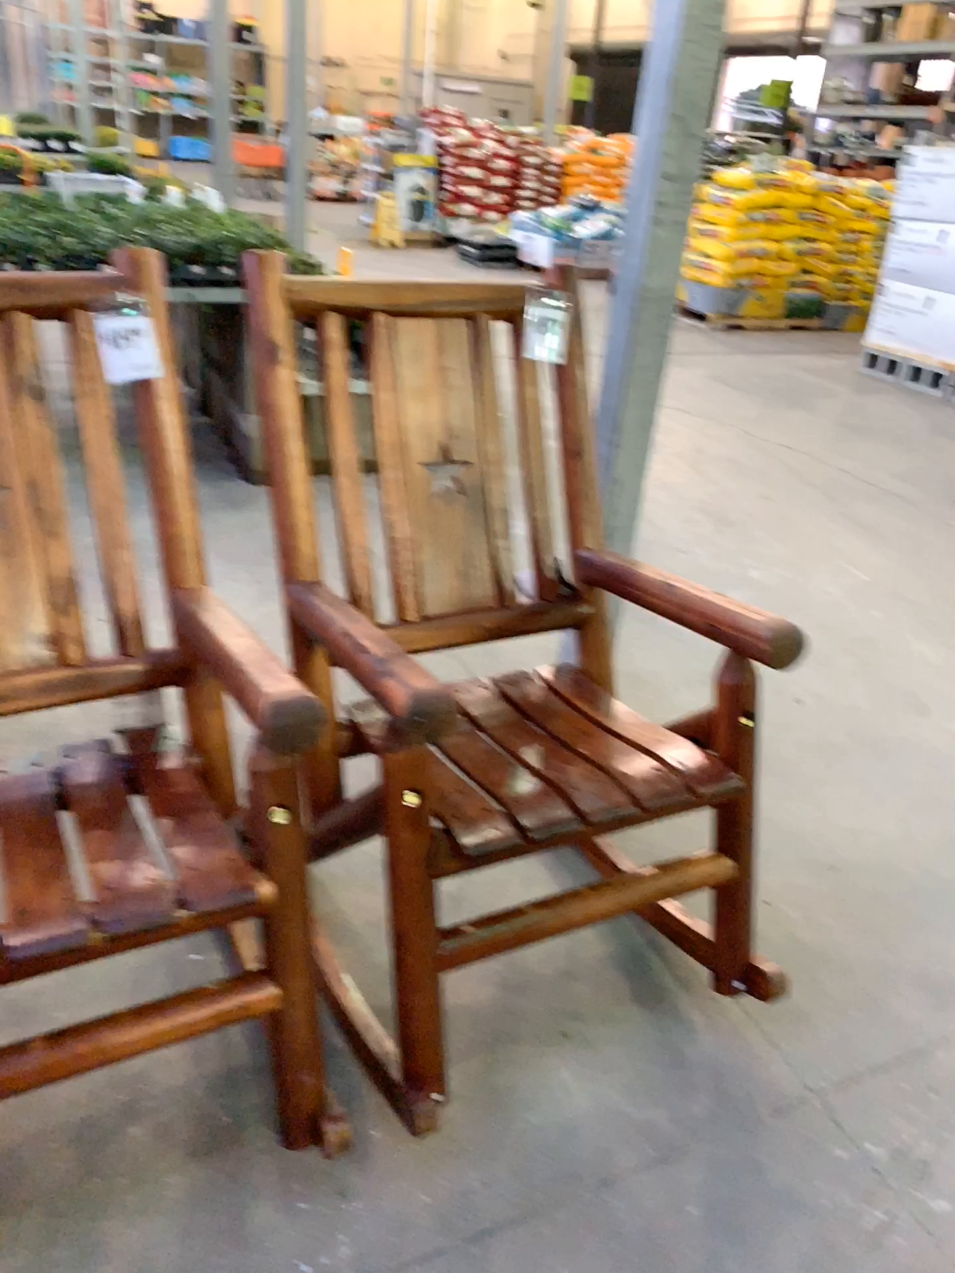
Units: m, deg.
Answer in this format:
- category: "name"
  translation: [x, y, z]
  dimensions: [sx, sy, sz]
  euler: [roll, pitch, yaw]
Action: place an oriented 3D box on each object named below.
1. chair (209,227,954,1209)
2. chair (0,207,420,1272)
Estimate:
- category: "chair"
  translation: [0.021, 0.013, 1.648]
  dimensions: [0.672, 1.158, 1.023]
  euler: [-8, 30, -26]
- category: "chair"
  translation: [-0.624, 0.117, 1.336]
  dimensions: [0.672, 1.158, 1.023]
  euler: [-8, 30, -25]
